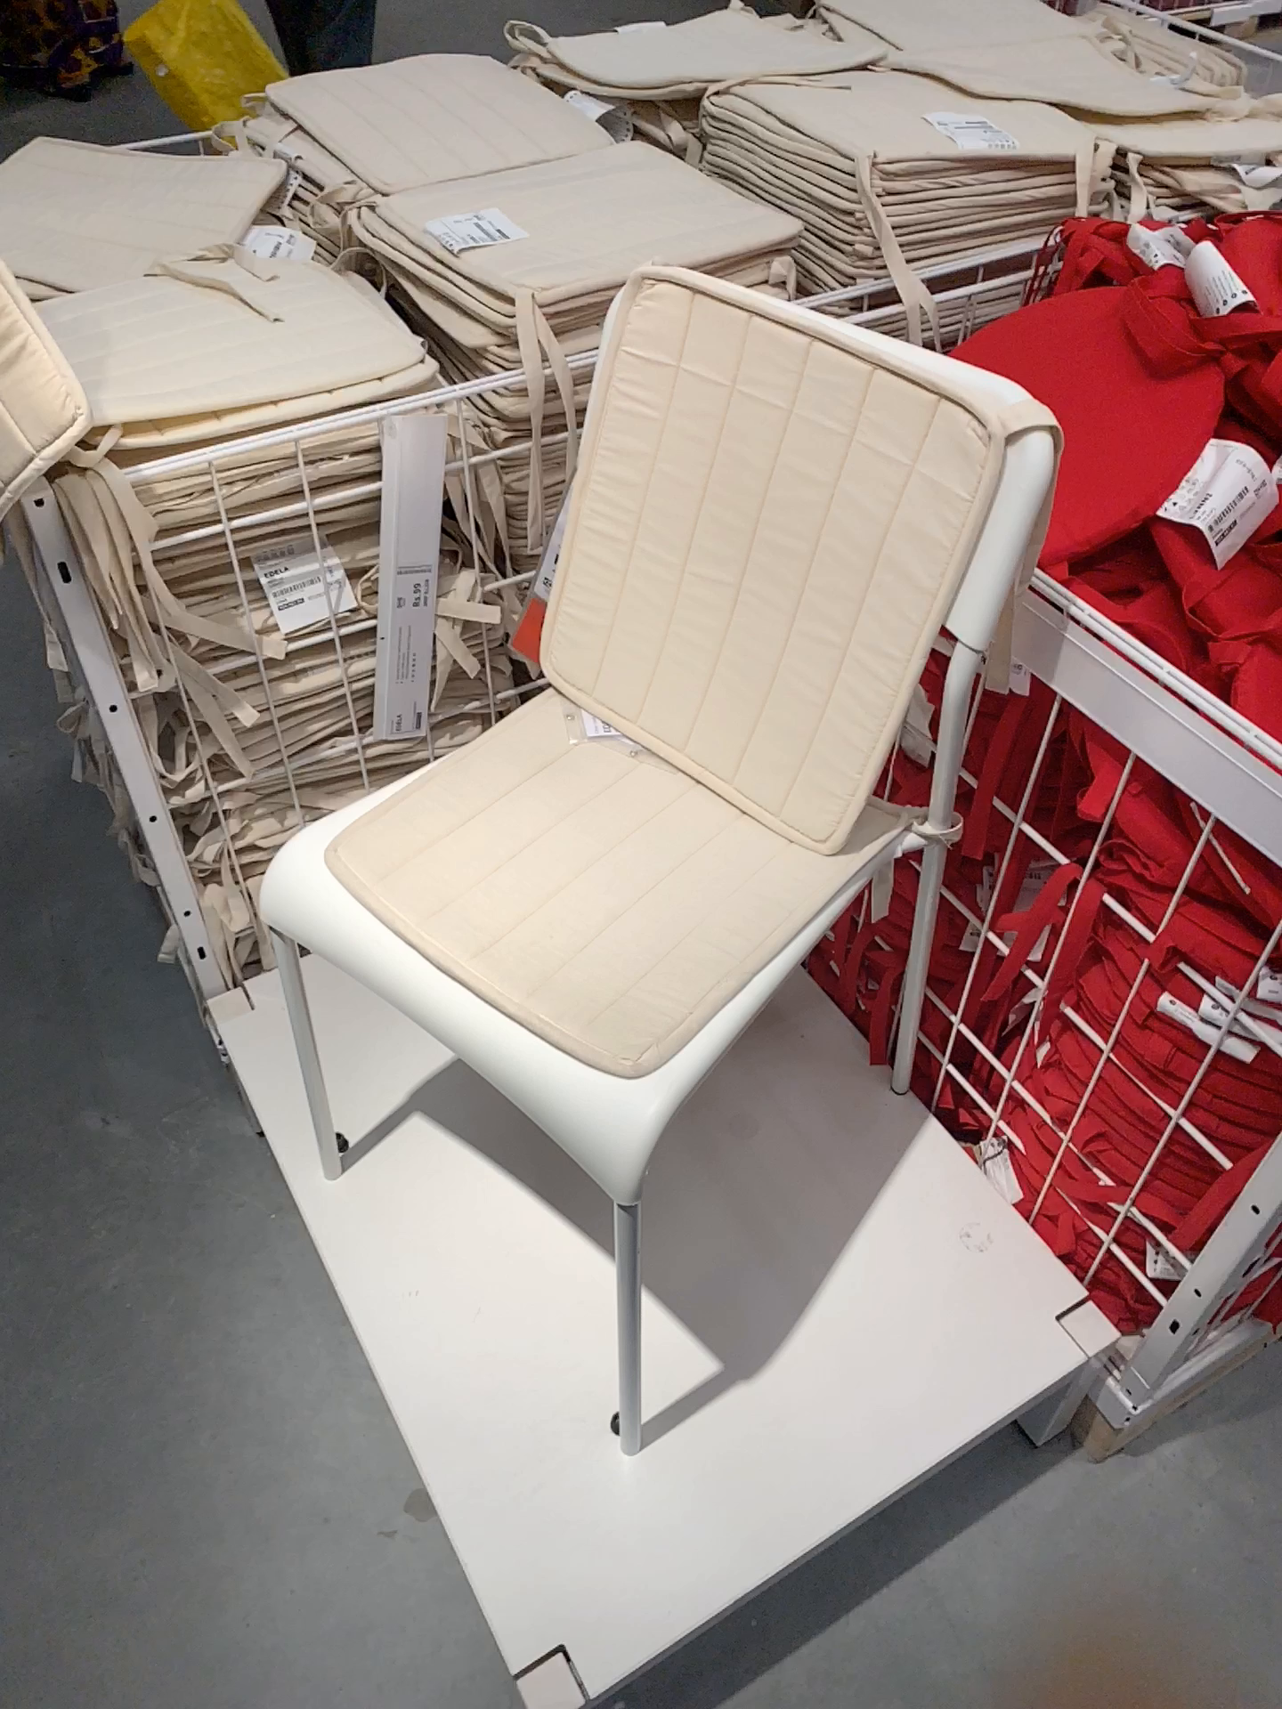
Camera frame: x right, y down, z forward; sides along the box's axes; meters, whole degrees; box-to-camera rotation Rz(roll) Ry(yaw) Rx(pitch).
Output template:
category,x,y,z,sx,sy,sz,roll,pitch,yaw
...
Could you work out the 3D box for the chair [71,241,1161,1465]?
category,x,y,z,sx,sy,sz,roll,pitch,yaw
chair,-0.005,0.007,1.013,0.431,0.697,0.481,32,53,28
